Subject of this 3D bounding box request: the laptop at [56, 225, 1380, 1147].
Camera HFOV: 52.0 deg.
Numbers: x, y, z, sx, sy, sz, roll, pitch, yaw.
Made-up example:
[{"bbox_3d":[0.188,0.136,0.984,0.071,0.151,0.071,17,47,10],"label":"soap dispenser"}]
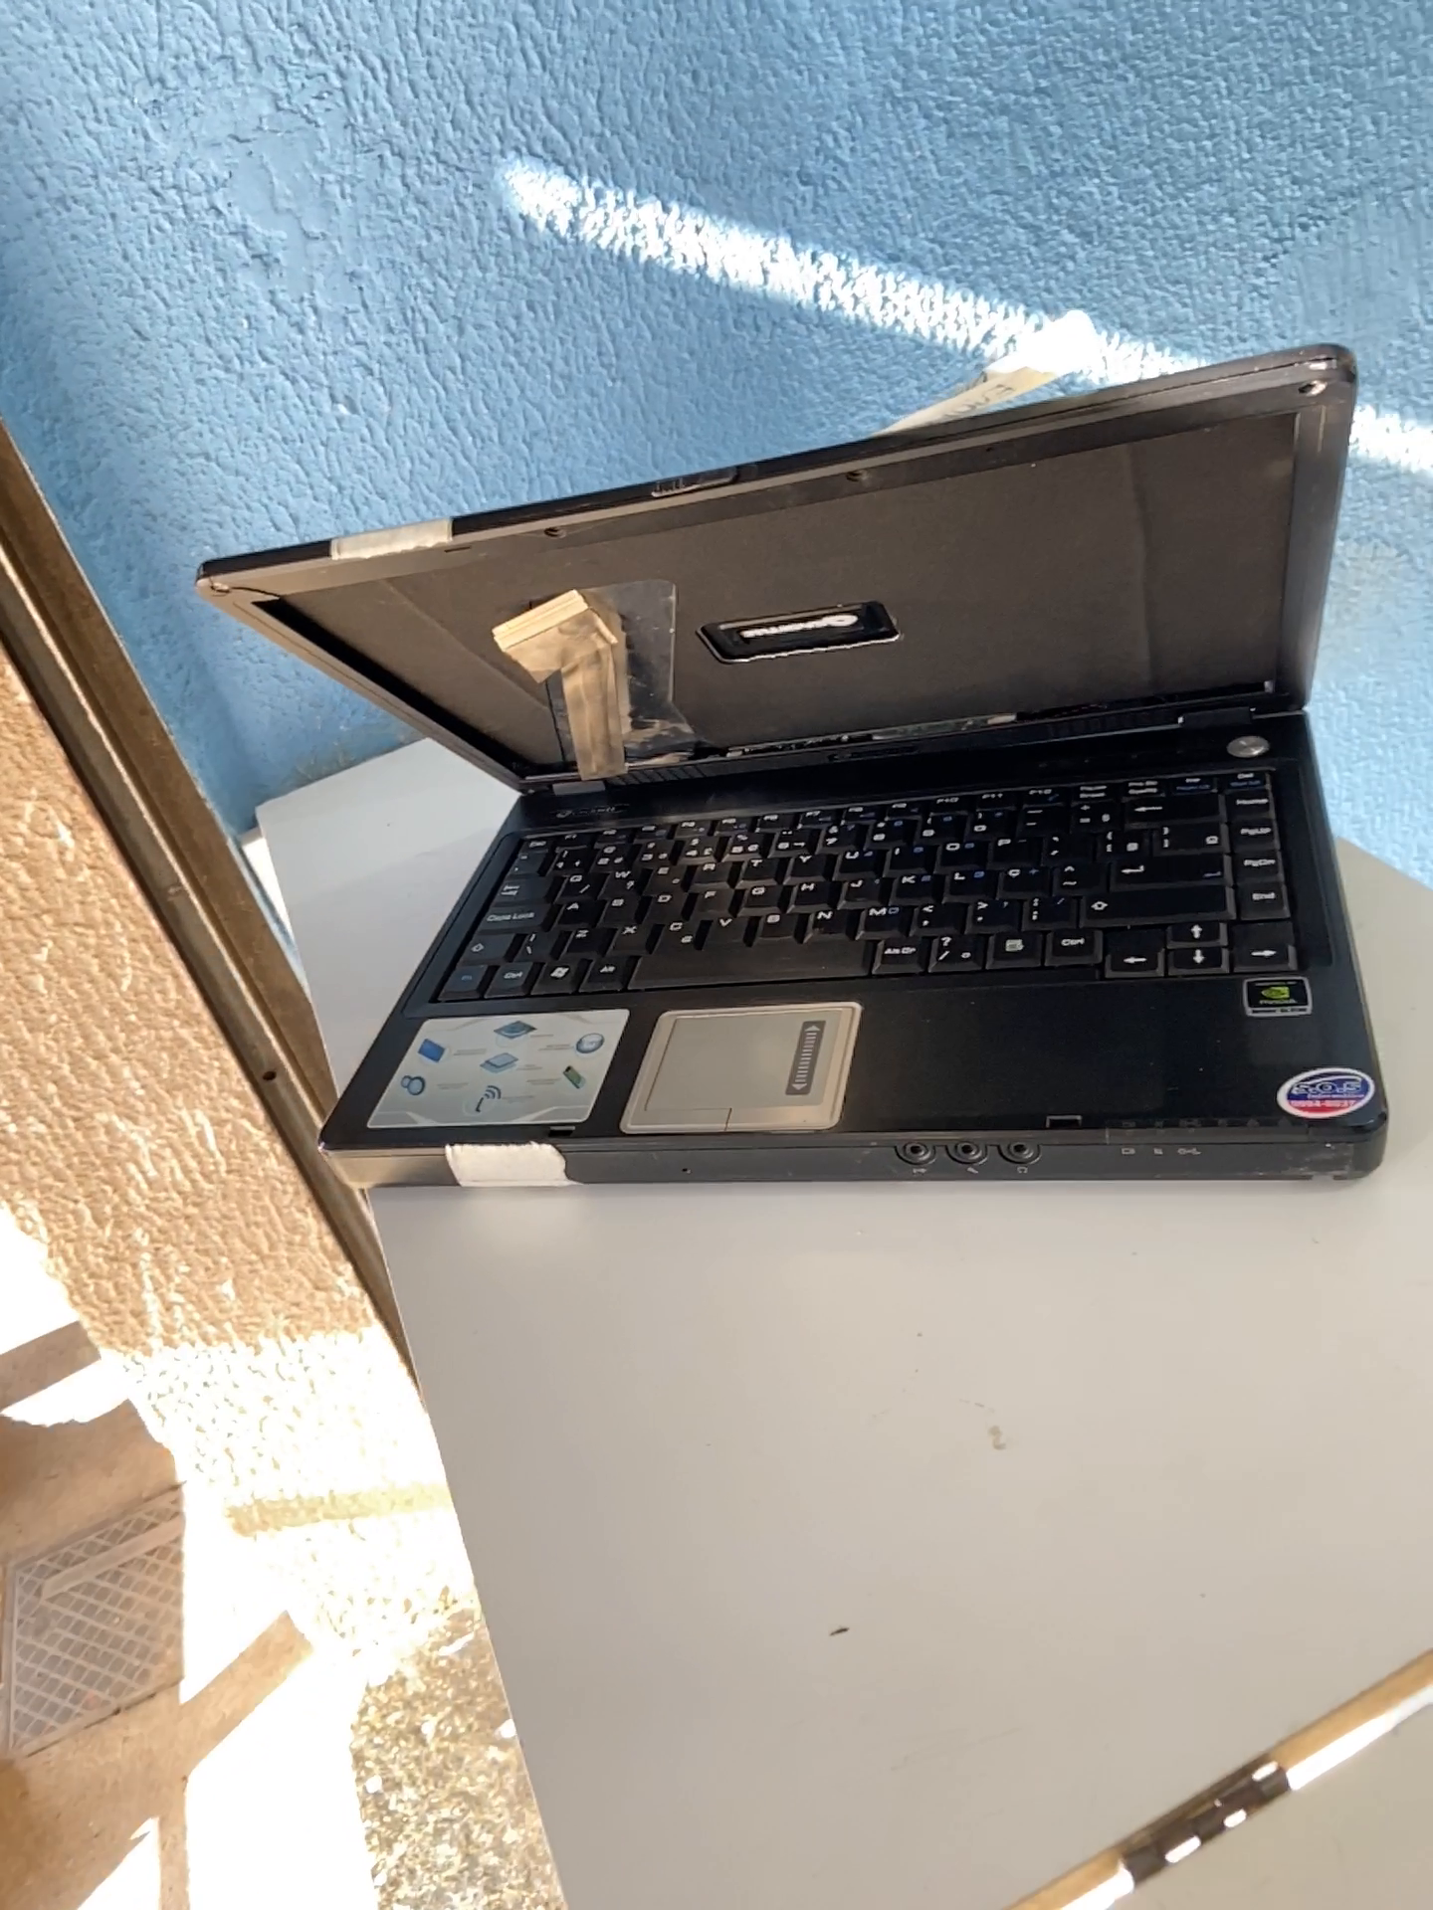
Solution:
[{"bbox_3d":[0.023,-0.084,0.480,0.328,0.175,0.225,-4,36,18],"label":"laptop"}]
